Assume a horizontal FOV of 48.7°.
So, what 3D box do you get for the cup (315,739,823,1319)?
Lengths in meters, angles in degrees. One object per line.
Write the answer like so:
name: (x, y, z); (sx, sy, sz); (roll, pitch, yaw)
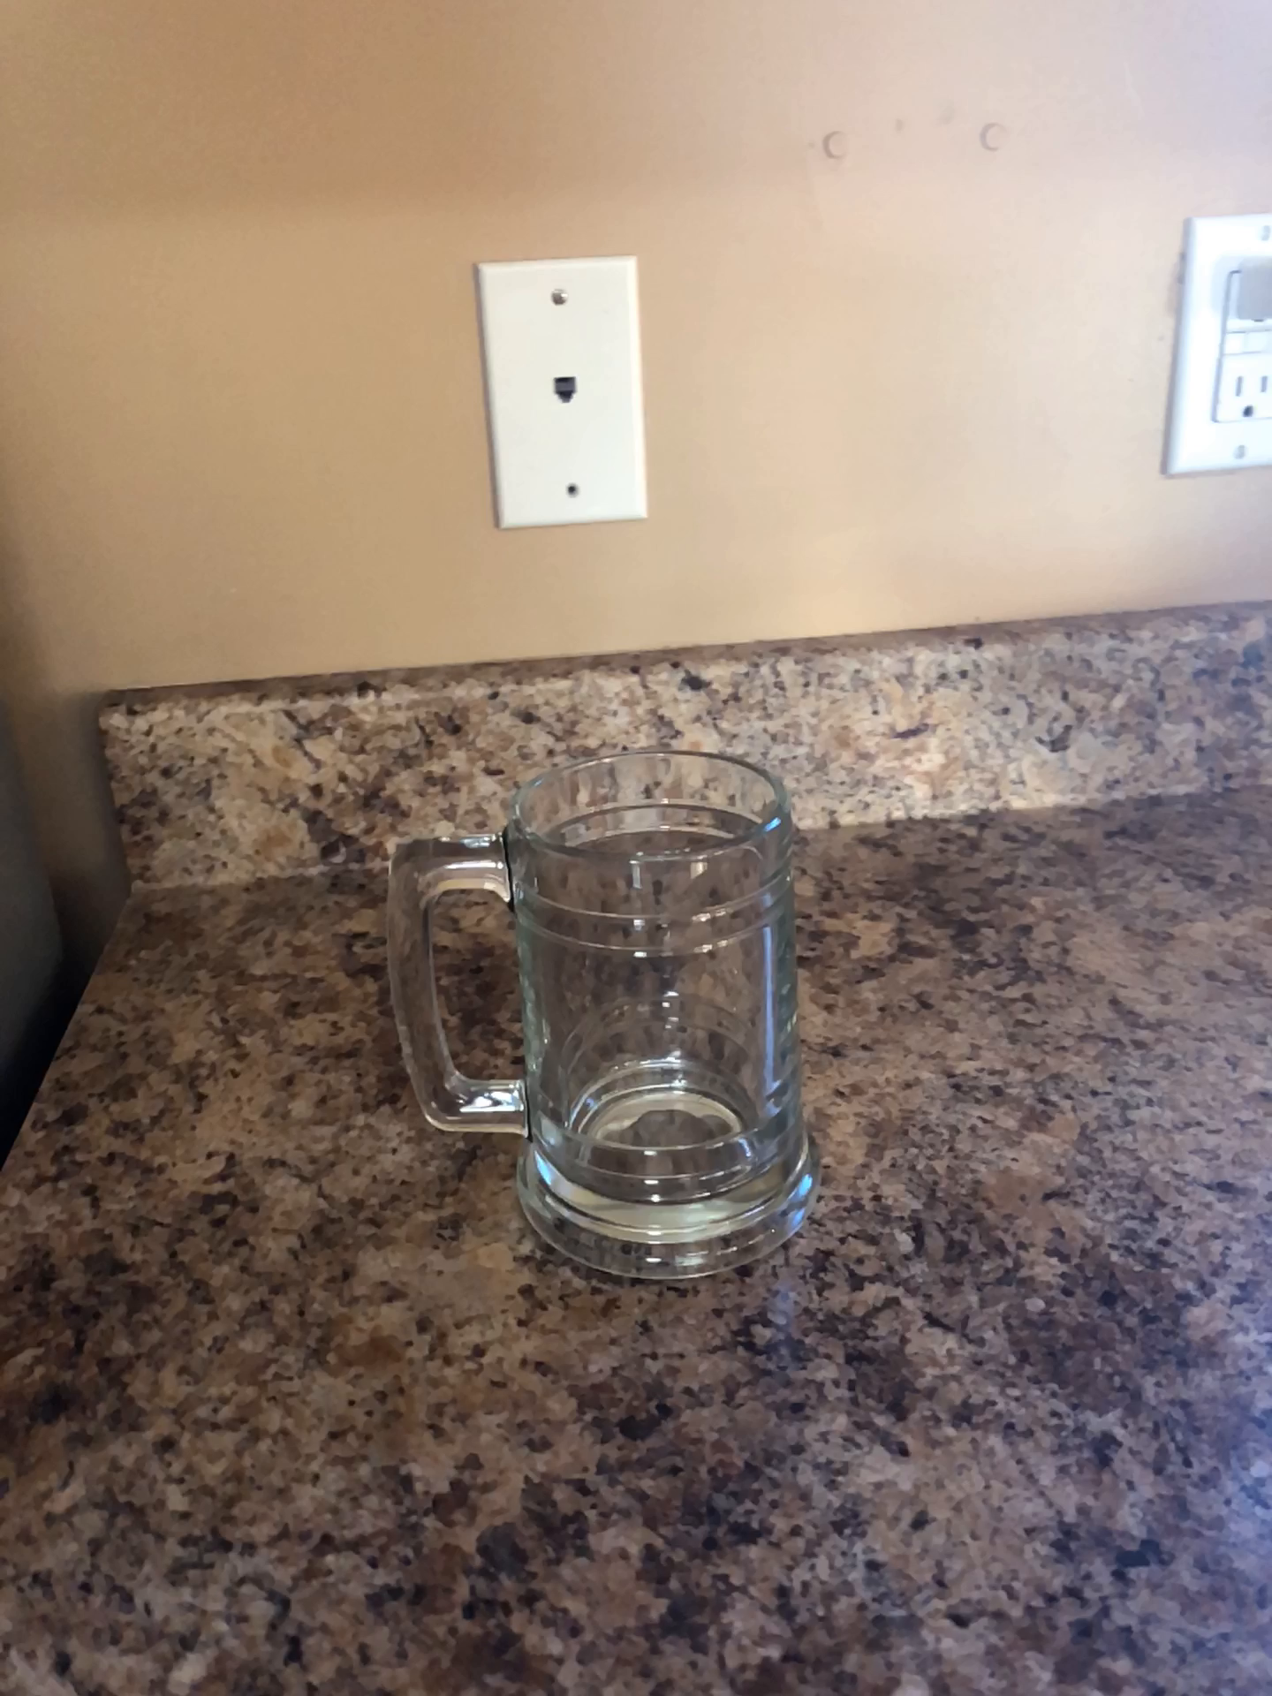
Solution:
cup: (-0.009, 0.050, 0.430); (0.130, 0.139, 0.100); (1, 24, 8)
